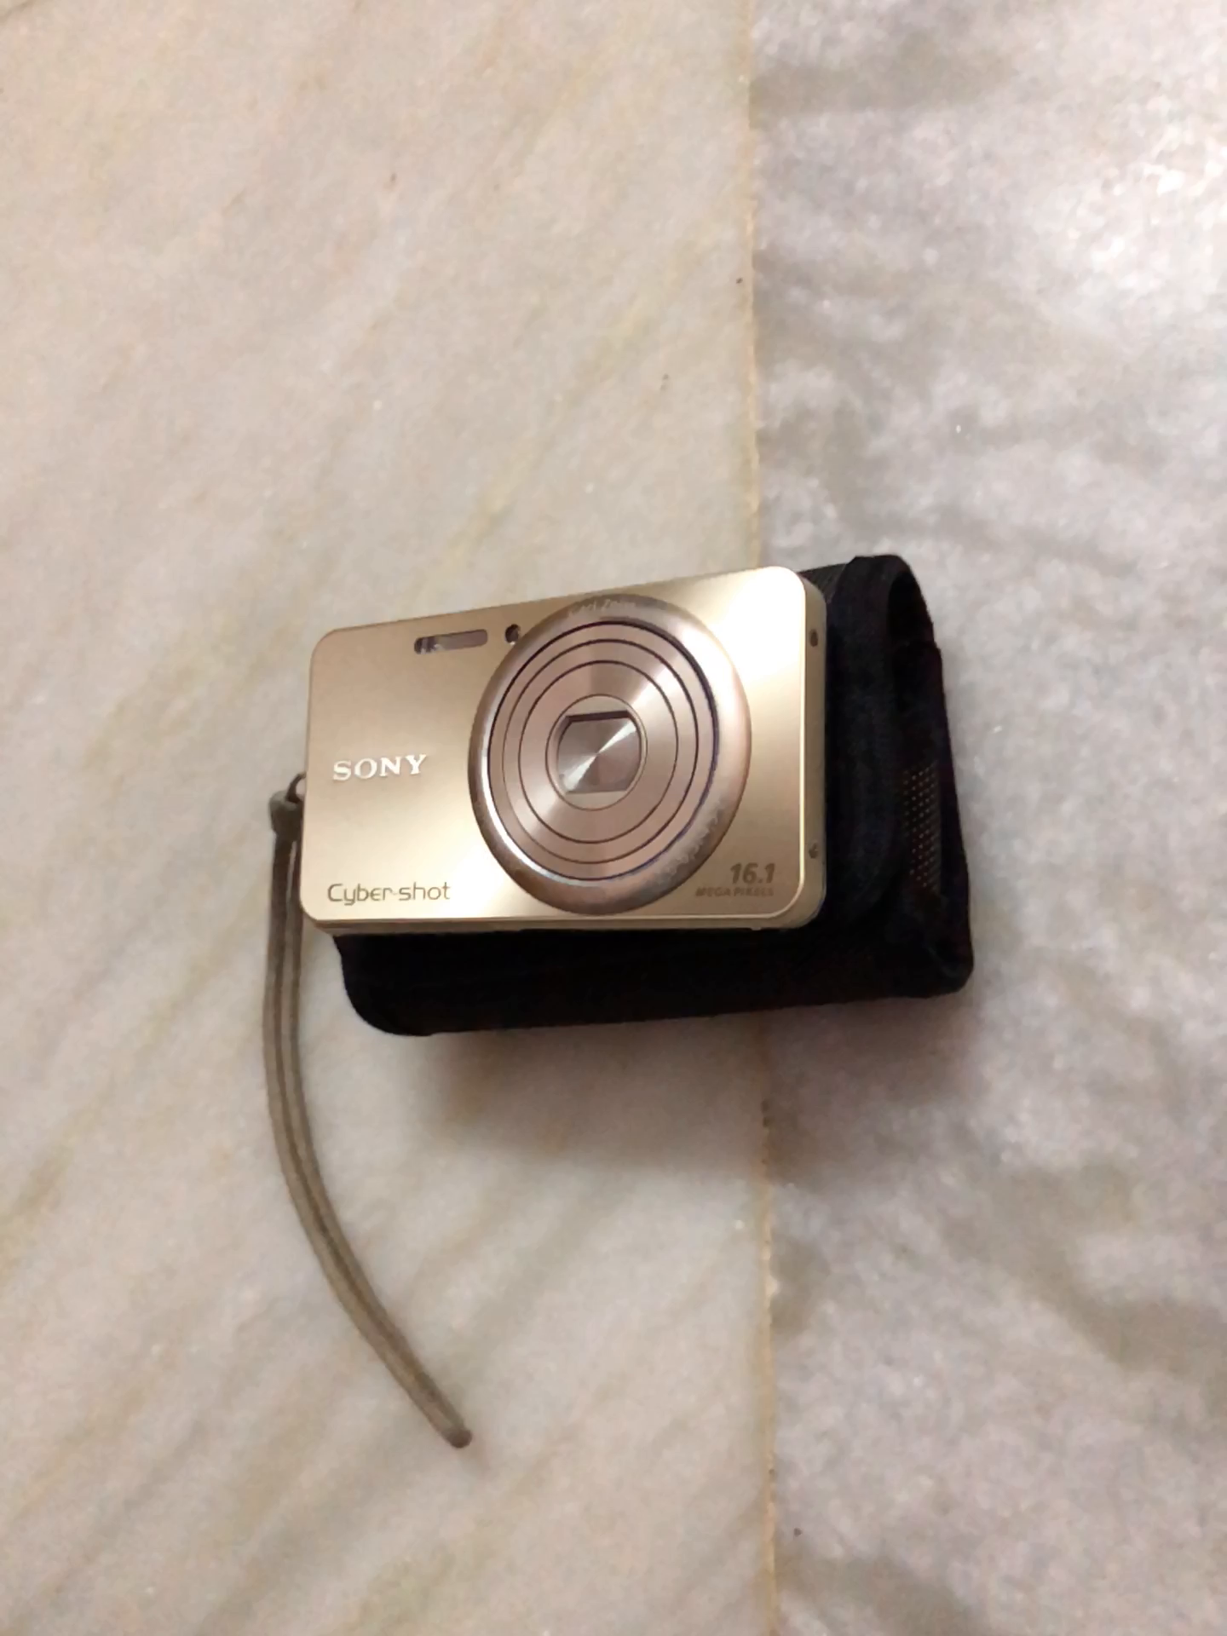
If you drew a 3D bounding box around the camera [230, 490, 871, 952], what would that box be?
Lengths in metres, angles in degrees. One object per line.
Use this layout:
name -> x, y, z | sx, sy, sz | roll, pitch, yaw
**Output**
camera -> -0.012, -0.011, 0.213 | 0.100, 0.020, 0.060 | -4, 78, 27
